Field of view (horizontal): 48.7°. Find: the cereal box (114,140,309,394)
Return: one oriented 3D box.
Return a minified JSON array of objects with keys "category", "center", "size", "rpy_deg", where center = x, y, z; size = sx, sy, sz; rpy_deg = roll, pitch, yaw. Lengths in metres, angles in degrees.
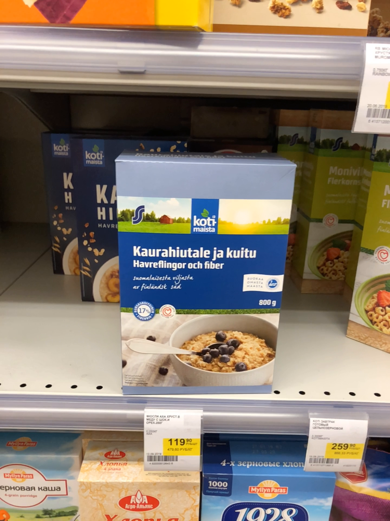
[{"category":"cereal box","center":[0.008,0.006,0.402],"size":[0.150,0.219,0.080],"rpy_deg":[1,19,-4]}]
